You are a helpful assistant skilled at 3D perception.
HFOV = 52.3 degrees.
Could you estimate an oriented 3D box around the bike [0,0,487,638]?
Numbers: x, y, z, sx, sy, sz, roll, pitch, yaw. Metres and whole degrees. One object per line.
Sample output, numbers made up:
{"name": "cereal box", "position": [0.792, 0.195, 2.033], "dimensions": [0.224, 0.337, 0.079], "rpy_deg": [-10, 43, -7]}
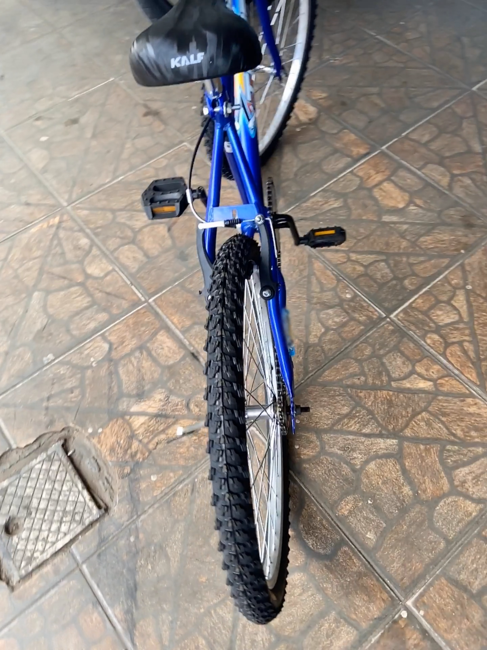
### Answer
{"name": "bike", "position": [0.044, -0.349, 0.874], "dimensions": [0.622, 0.925, 1.492], "rpy_deg": [3, 61, 3]}
